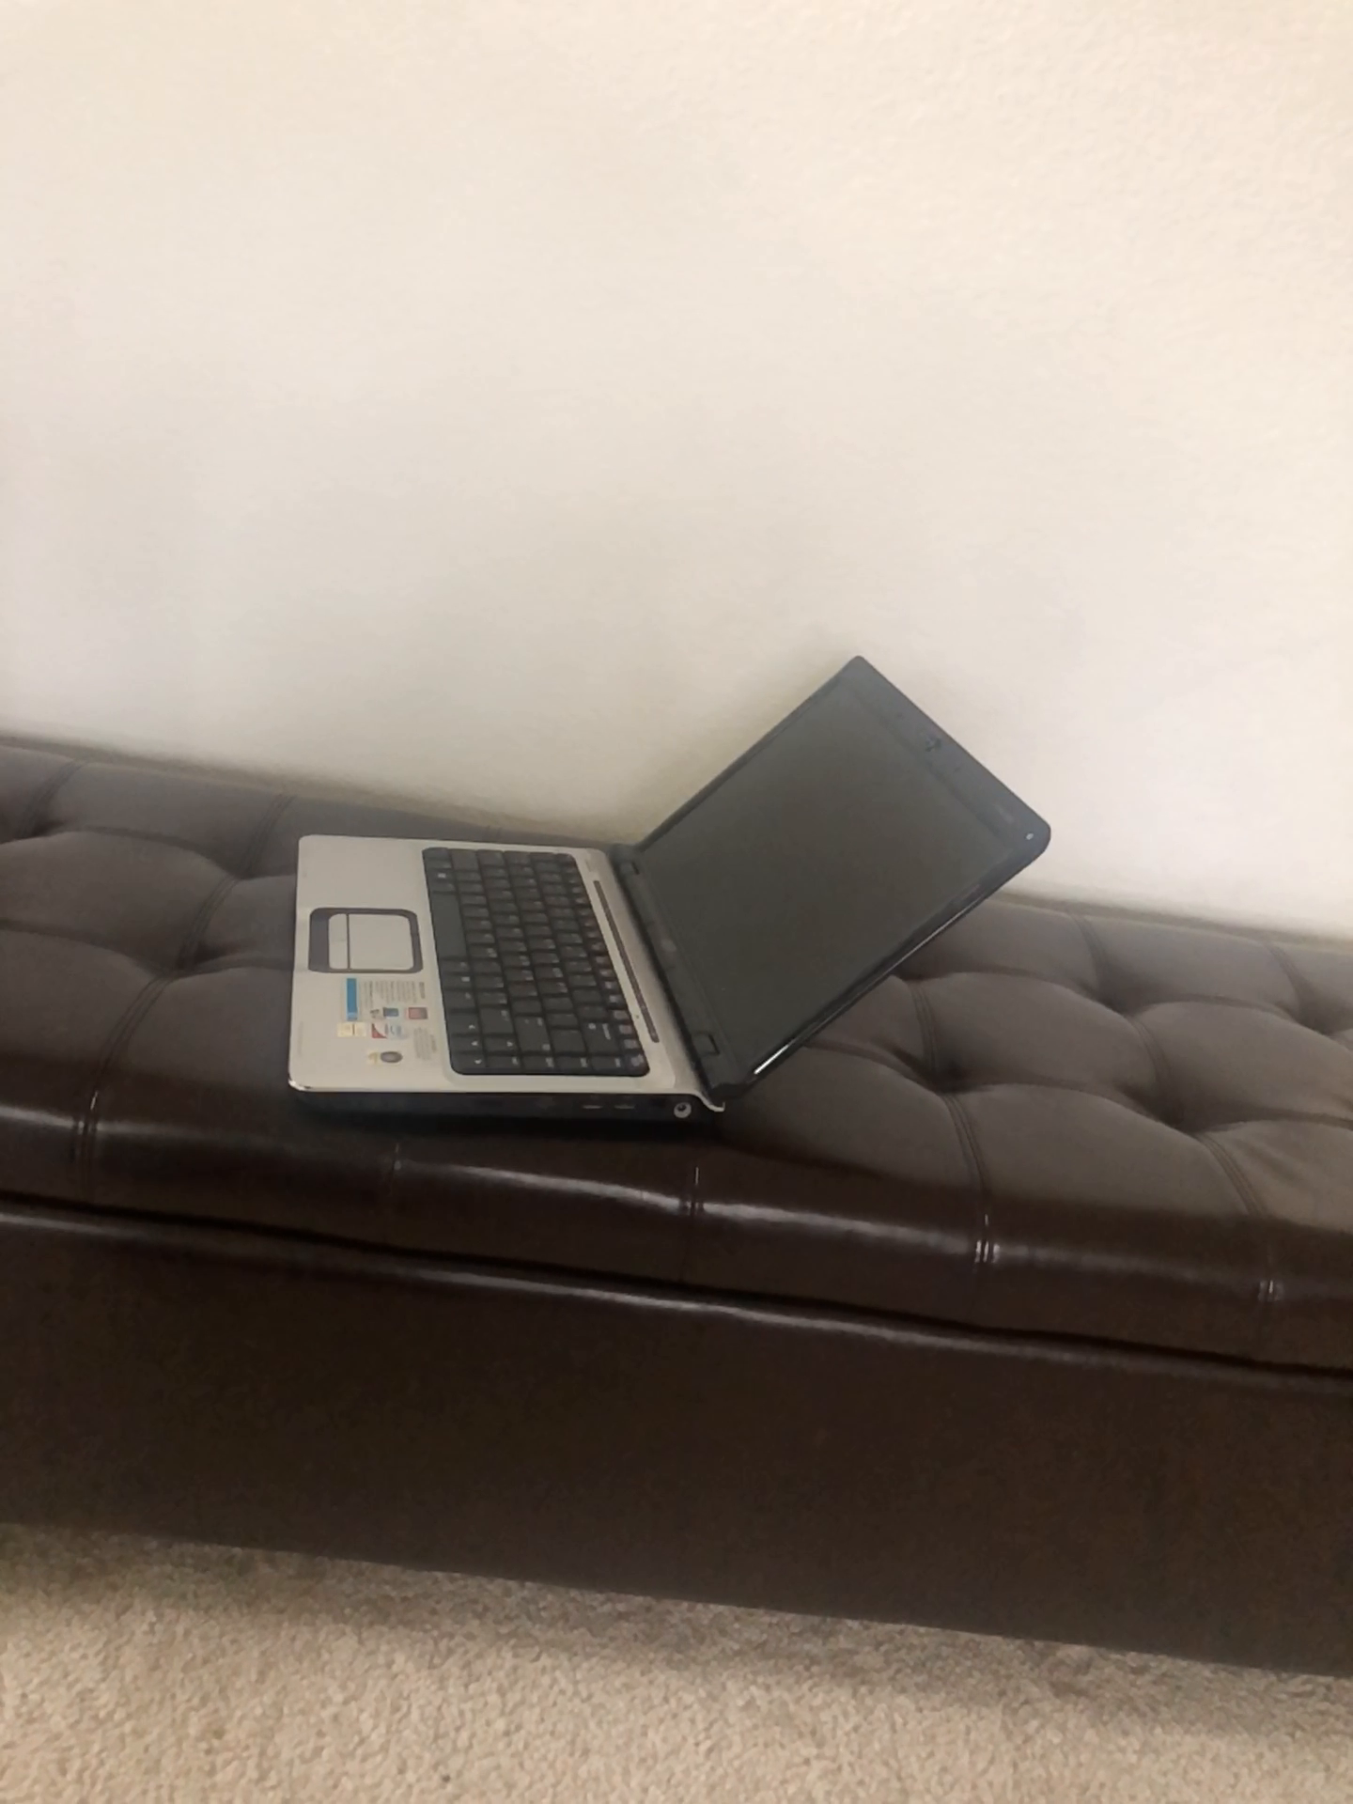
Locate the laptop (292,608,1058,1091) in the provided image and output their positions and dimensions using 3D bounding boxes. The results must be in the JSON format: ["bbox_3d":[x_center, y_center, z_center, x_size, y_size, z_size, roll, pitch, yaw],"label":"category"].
[{"bbox_3d":[-0.030,-0.042,0.906,0.381,0.161,0.327,2,24,-15],"label":"laptop"}]
